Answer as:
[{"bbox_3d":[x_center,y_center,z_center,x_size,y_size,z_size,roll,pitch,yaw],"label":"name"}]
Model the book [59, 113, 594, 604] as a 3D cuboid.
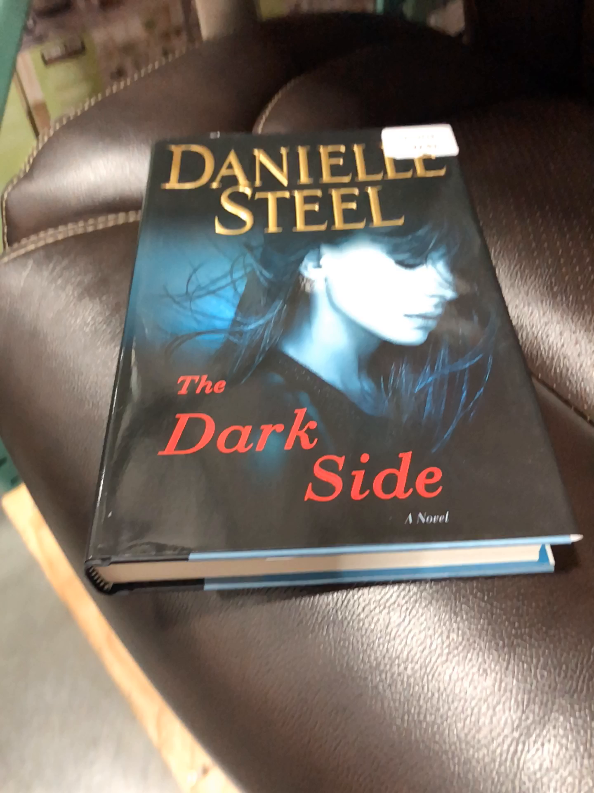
[{"bbox_3d":[0.005,-0.037,0.294,0.168,0.040,0.238,-3,54,0],"label":"book"}]
